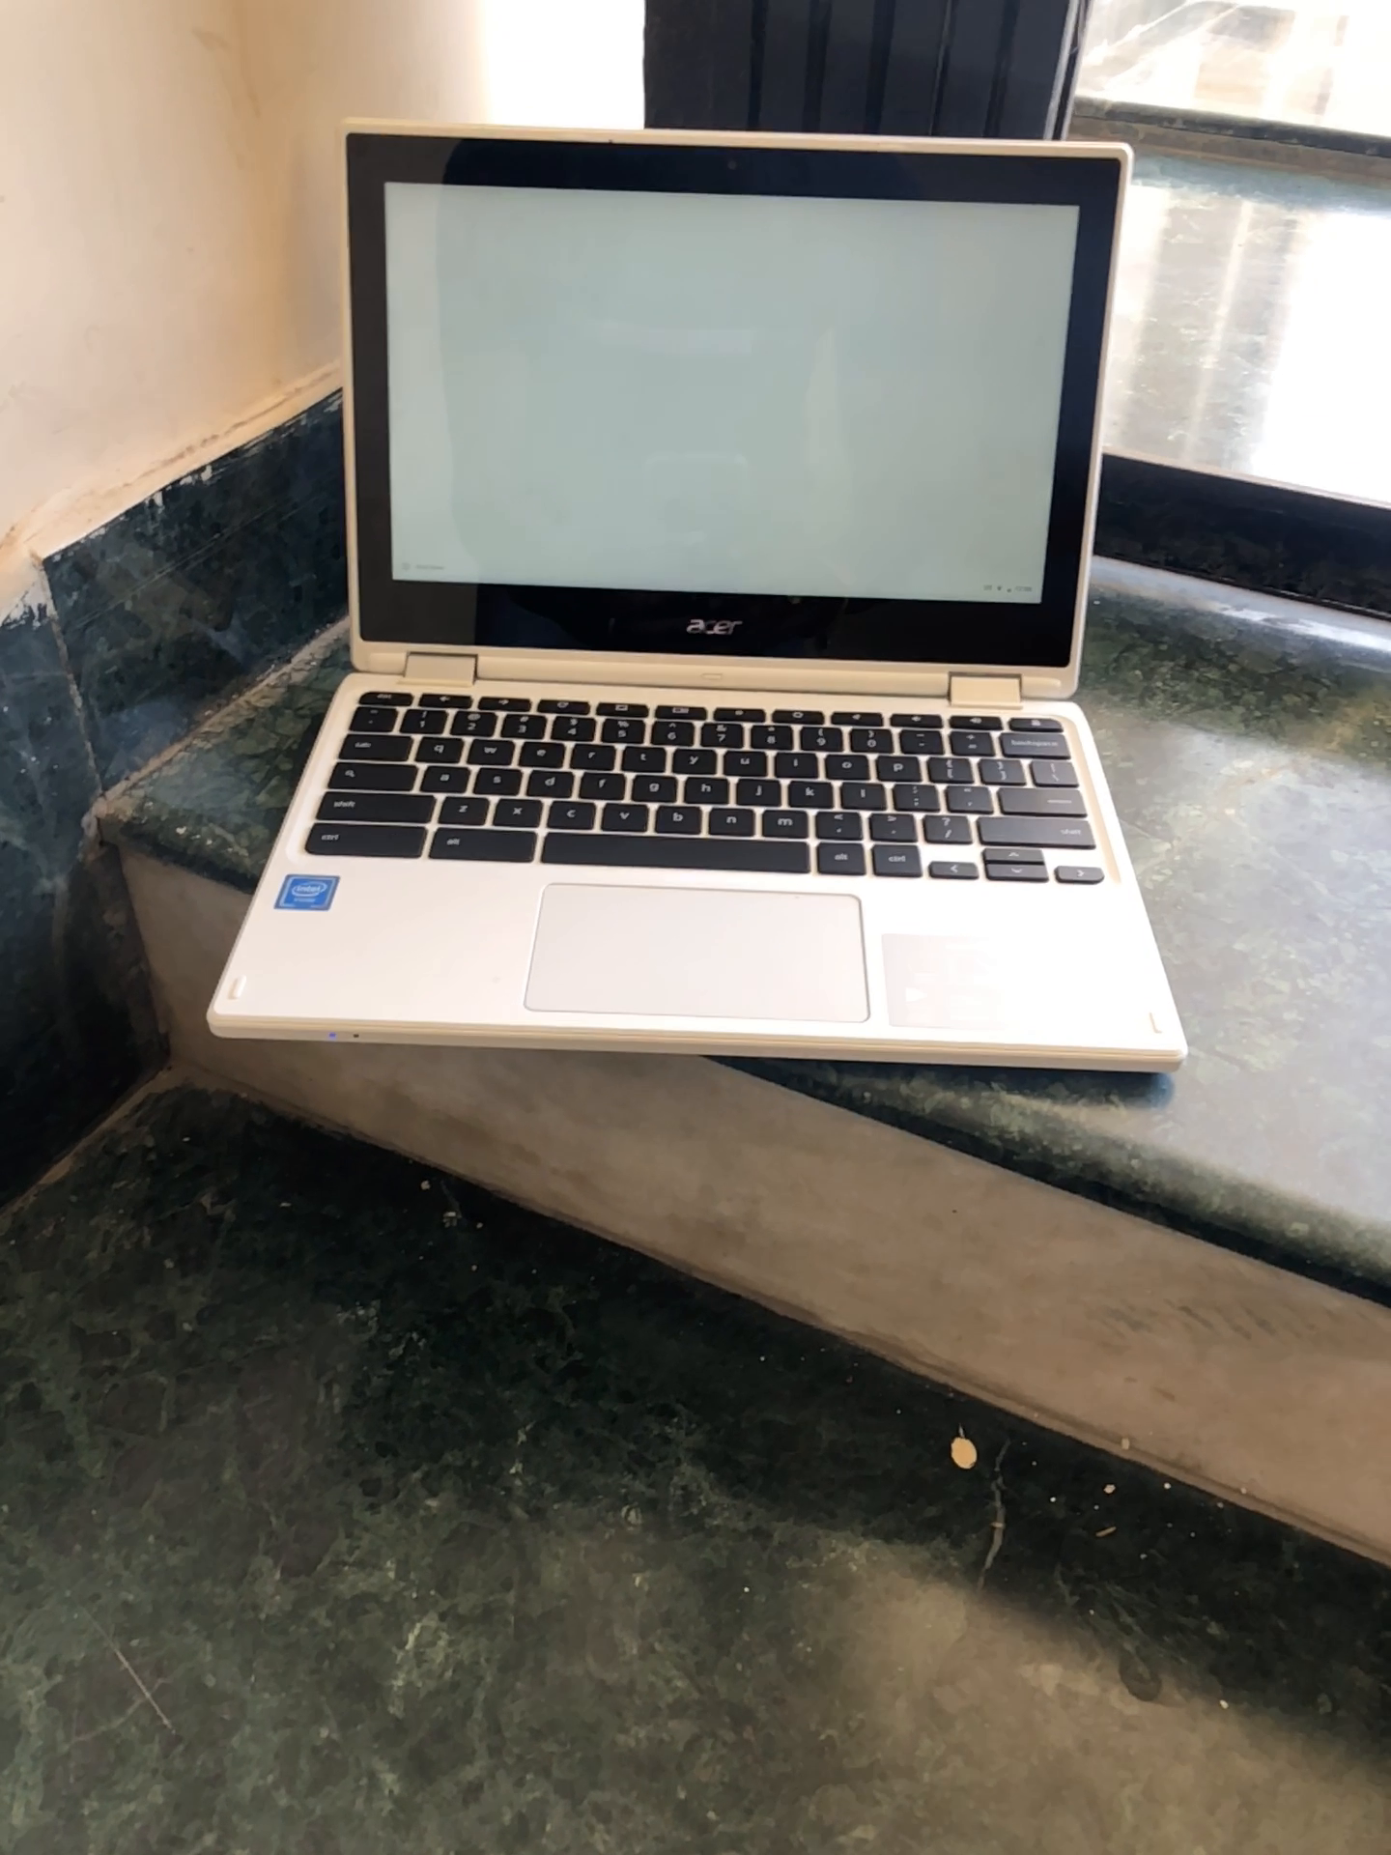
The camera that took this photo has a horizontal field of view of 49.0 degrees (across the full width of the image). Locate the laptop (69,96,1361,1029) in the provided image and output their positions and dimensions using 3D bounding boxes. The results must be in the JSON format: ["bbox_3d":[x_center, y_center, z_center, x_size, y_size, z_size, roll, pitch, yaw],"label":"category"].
[{"bbox_3d":[0.007,-0.133,0.488,0.278,0.178,0.273,2,38,1],"label":"laptop"}]
